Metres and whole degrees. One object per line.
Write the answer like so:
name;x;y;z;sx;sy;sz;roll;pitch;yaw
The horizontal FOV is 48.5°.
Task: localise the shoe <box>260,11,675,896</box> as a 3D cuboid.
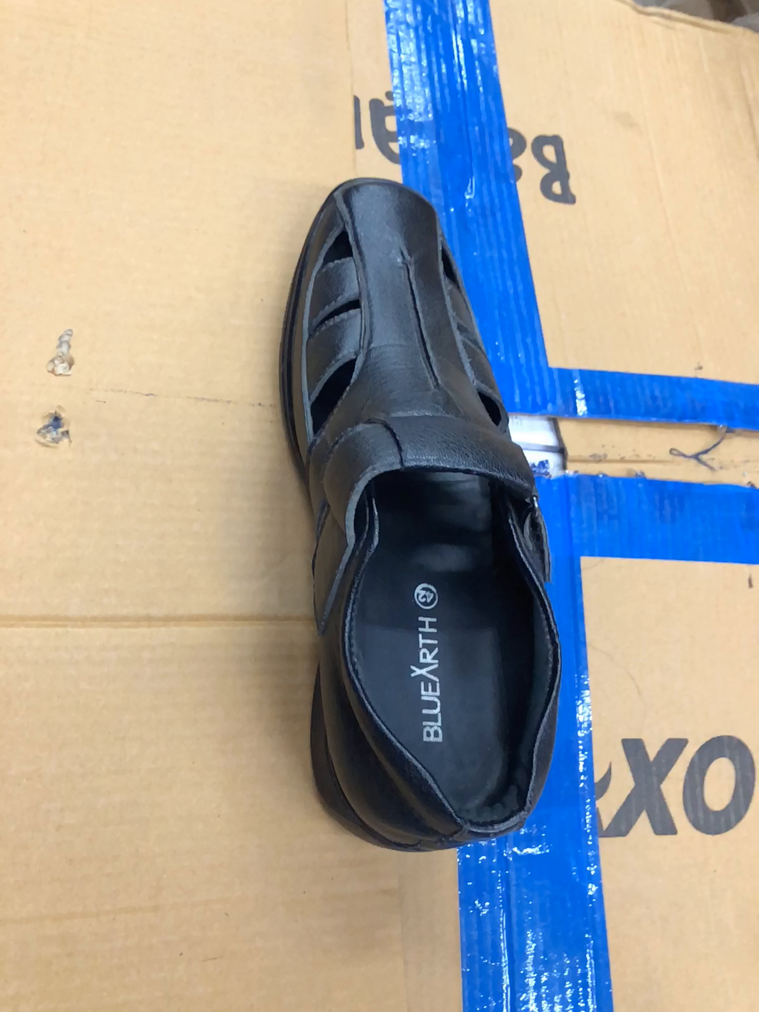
shoe;0.016;-0.025;0.330;0.101;0.097;0.304;1;72;-18
